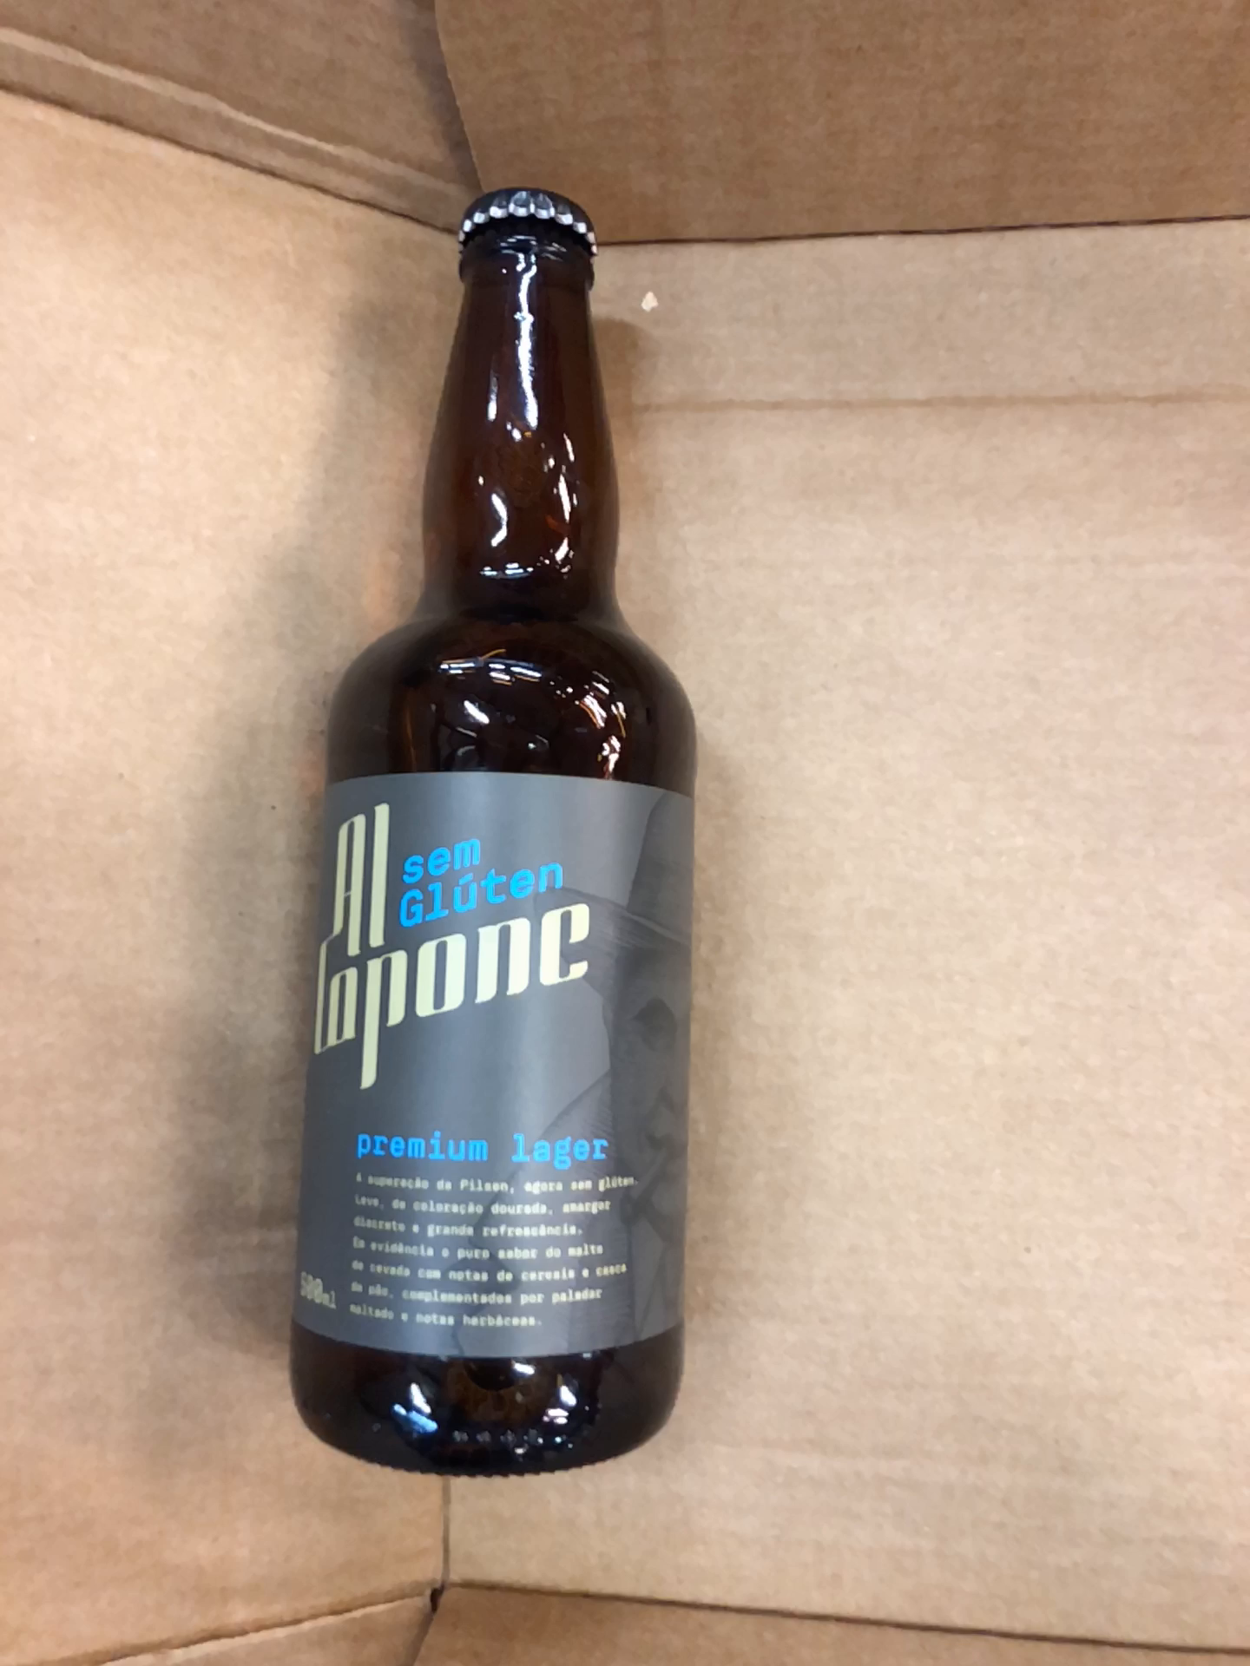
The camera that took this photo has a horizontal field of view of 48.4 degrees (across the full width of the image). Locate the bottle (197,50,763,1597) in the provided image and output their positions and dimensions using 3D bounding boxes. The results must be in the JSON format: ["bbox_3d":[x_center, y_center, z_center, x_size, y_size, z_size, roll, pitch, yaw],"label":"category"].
[{"bbox_3d":[-0.021,-0.006,0.247,0.080,0.060,0.240,2,80,-7],"label":"bottle"}]
